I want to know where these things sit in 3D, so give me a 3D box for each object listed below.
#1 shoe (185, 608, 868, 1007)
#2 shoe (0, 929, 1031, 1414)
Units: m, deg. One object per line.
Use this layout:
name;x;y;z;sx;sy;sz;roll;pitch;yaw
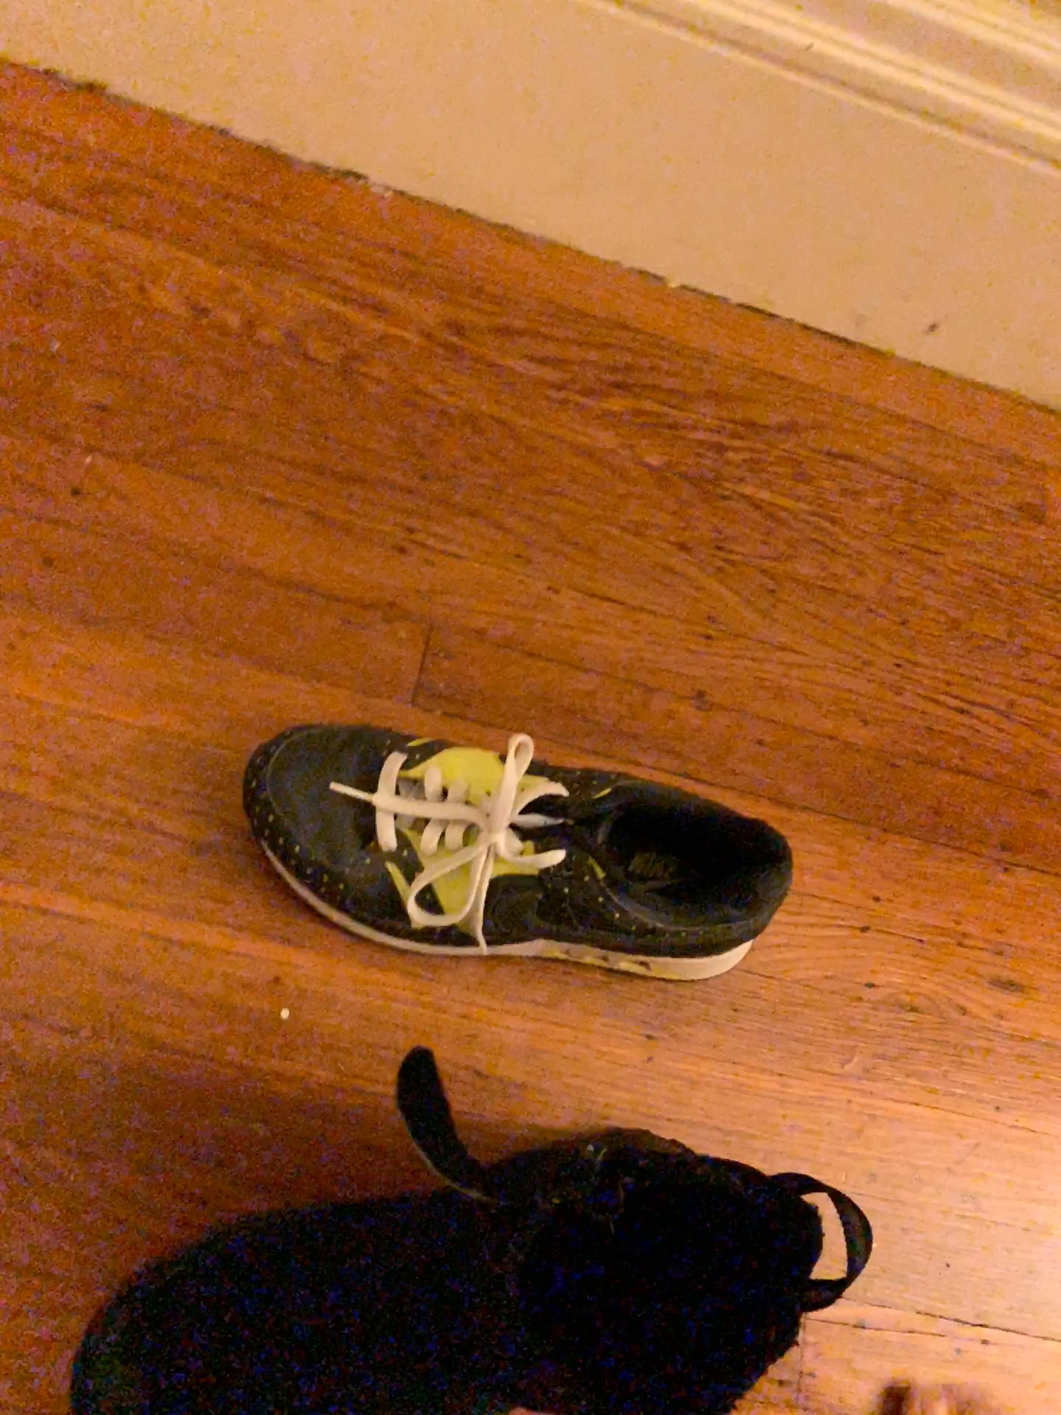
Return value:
shoe;0.001;0.056;0.515;0.290;0.100;0.120;11;68;-10
shoe;-0.035;0.217;0.429;0.310;0.240;0.160;-9;72;-17
